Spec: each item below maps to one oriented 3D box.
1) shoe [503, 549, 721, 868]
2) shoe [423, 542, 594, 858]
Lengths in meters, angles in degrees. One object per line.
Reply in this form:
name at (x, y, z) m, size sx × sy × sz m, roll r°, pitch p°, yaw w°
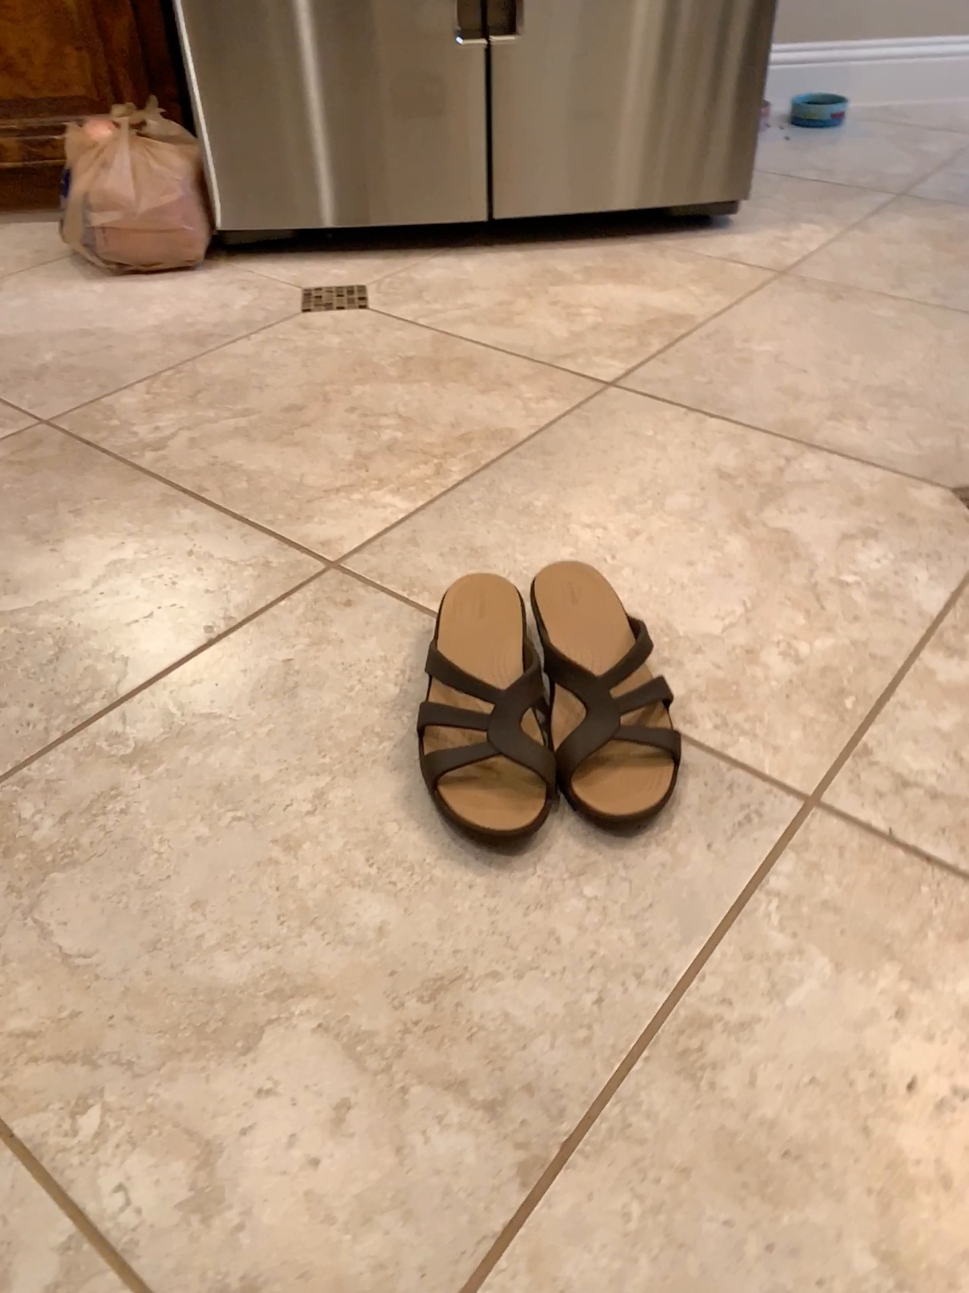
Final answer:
shoe at (0.089, 0.037, 0.795) m, size 0.110 × 0.092 × 0.265 m, roll -5°, pitch 39°, yaw -5°
shoe at (0.010, 0.030, 0.775) m, size 0.110 × 0.092 × 0.260 m, roll -3°, pitch 39°, yaw -2°
